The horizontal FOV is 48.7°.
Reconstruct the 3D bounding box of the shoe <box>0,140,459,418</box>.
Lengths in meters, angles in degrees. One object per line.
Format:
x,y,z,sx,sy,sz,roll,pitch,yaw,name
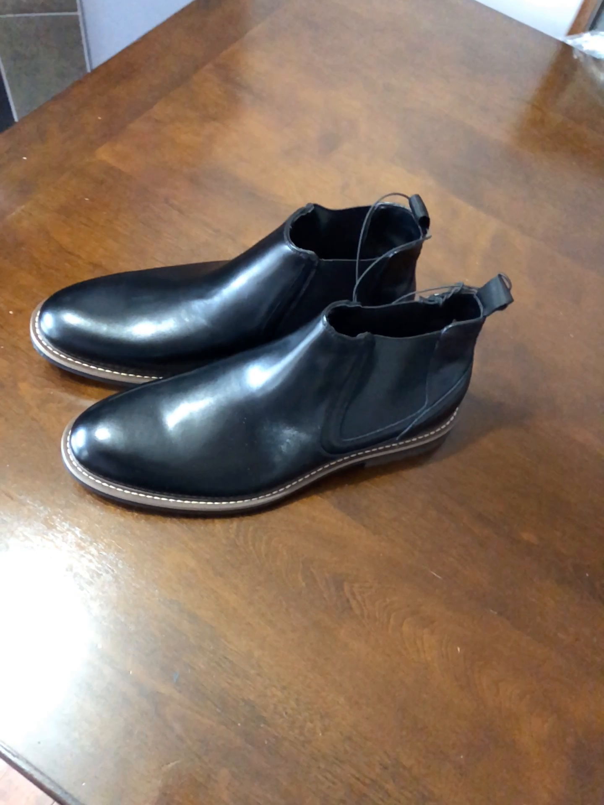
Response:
-0.061,-0.095,0.527,0.300,0.170,0.120,-5,62,-12,shoe

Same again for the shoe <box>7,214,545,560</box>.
-0.022,-0.009,0.470,0.300,0.170,0.120,-12,63,-15,shoe
